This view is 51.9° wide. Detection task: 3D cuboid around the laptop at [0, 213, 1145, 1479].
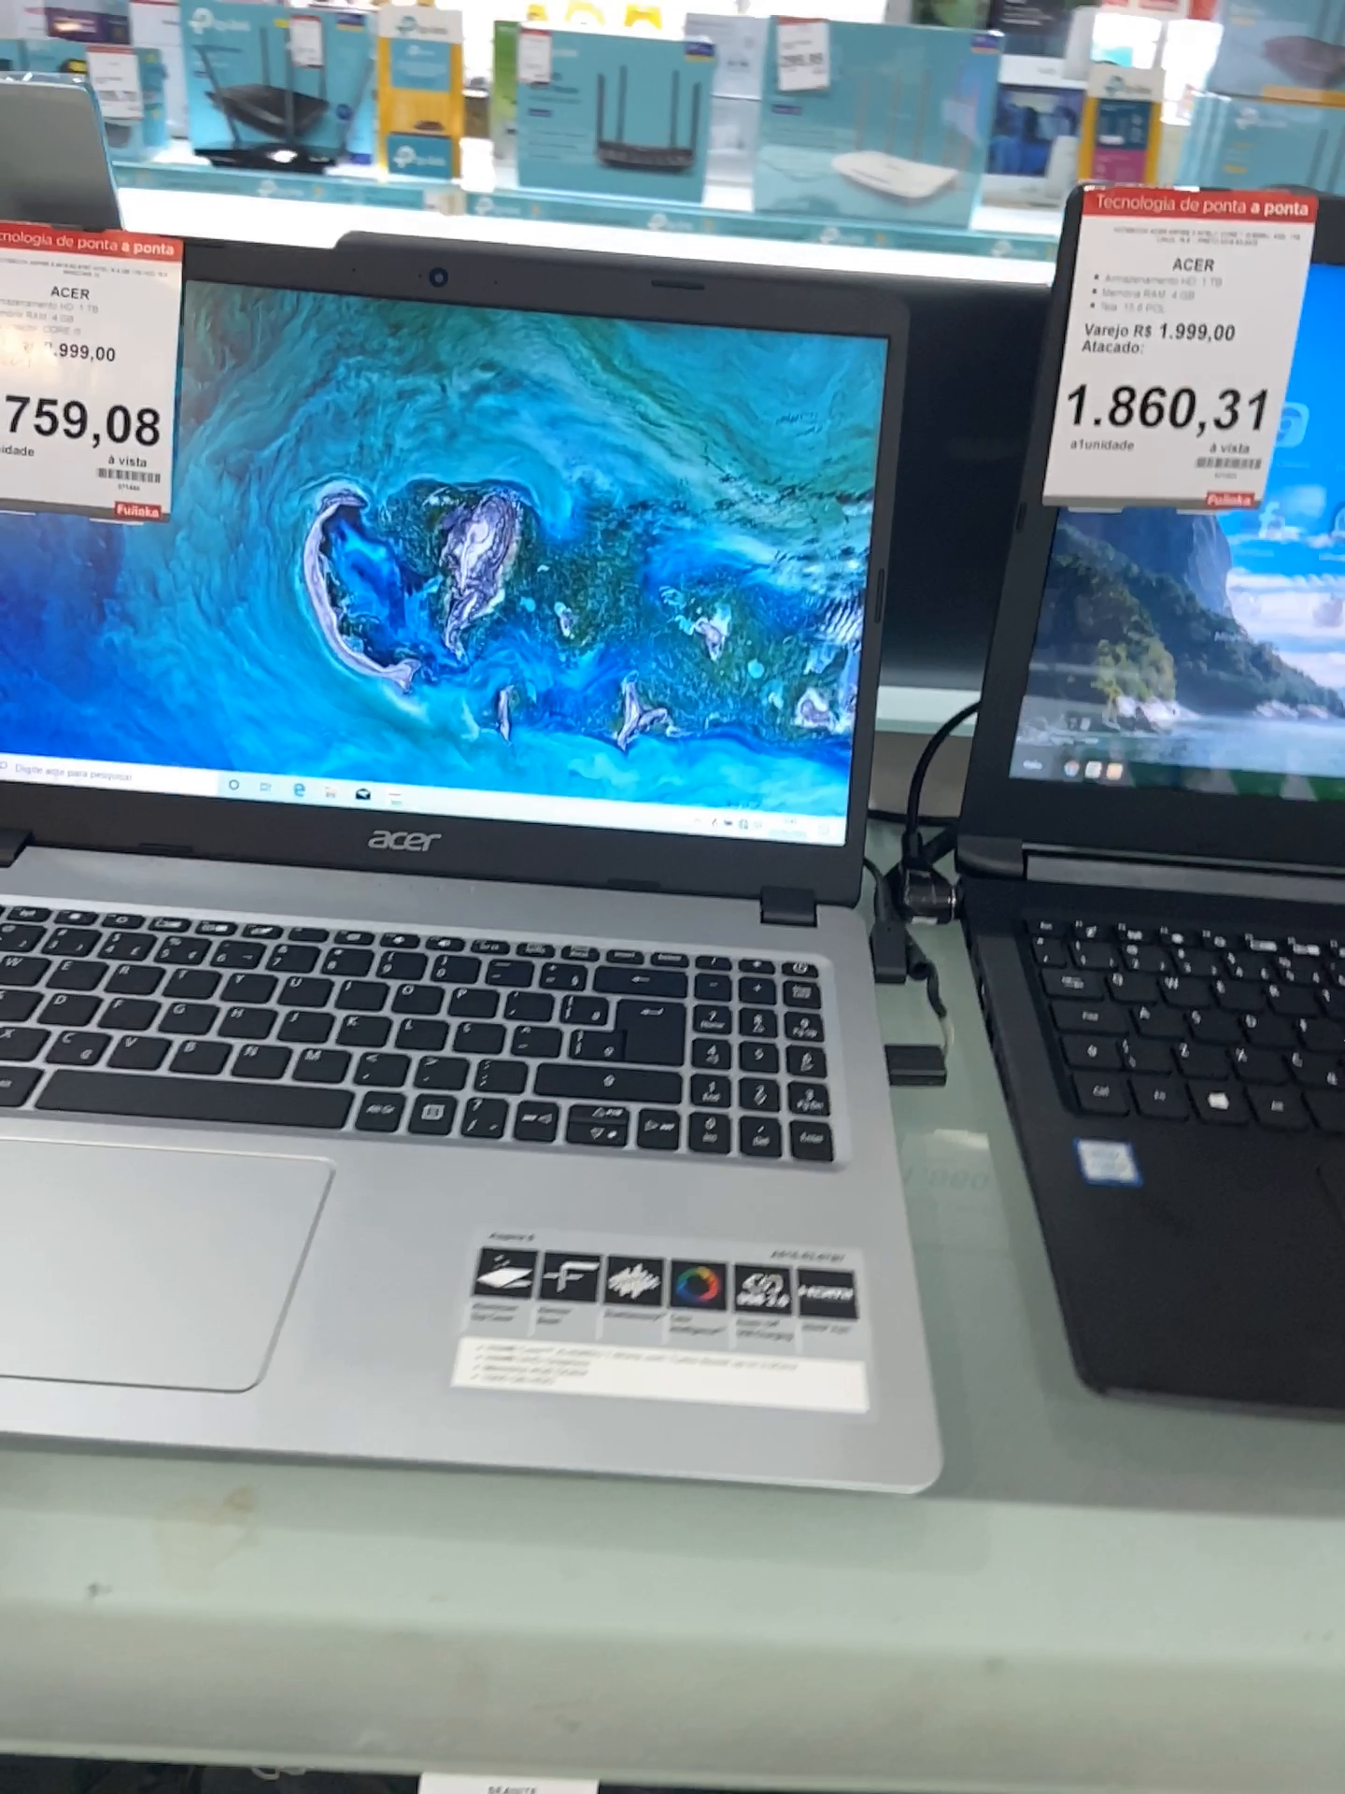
[{"bbox_3d":[-0.098,-0.061,0.421,0.350,0.198,0.364,4,33,0],"label":"laptop"}]
